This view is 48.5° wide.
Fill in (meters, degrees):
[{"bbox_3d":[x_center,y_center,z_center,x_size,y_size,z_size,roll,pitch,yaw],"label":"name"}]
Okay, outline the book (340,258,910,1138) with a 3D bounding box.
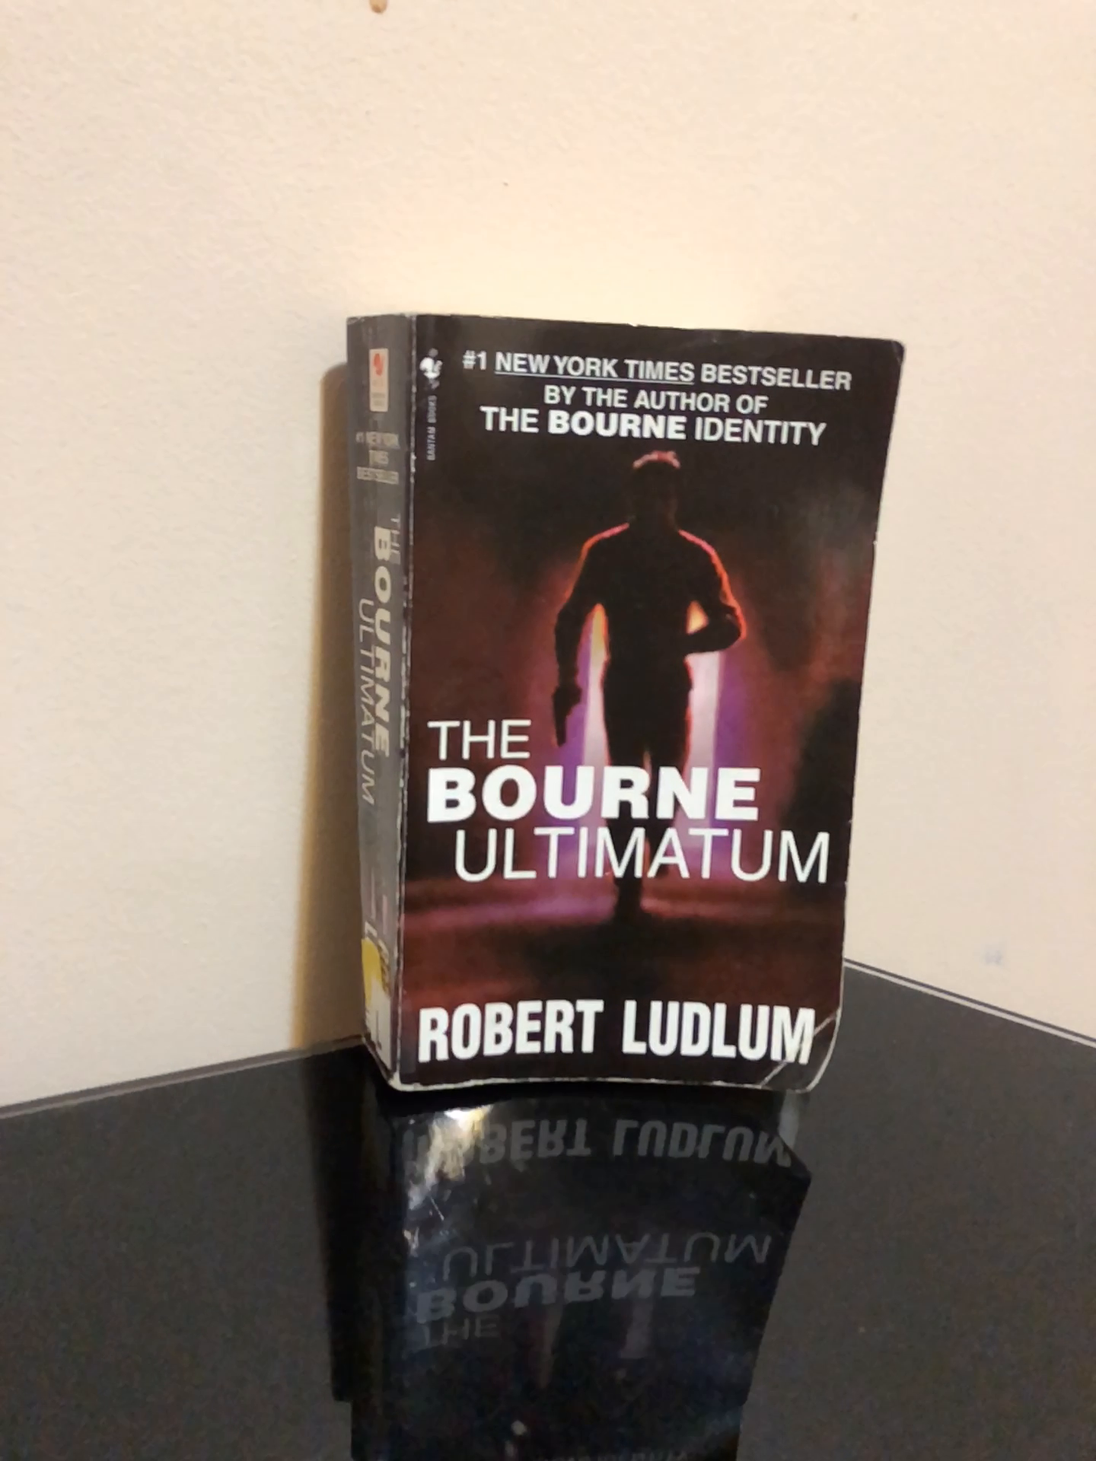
[{"bbox_3d":[0.014,-0.010,0.306,0.120,0.190,0.070,-3,11,-13],"label":"book"}]
